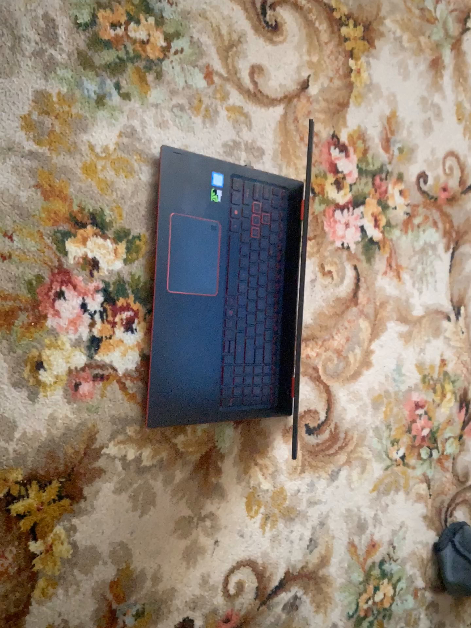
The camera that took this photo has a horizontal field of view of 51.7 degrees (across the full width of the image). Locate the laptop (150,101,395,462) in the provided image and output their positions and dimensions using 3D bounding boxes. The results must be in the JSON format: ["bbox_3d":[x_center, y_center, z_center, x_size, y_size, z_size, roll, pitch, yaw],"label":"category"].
[{"bbox_3d":[0.042,-0.028,0.608,0.225,0.172,0.356,3,90,-31],"label":"laptop"}]
